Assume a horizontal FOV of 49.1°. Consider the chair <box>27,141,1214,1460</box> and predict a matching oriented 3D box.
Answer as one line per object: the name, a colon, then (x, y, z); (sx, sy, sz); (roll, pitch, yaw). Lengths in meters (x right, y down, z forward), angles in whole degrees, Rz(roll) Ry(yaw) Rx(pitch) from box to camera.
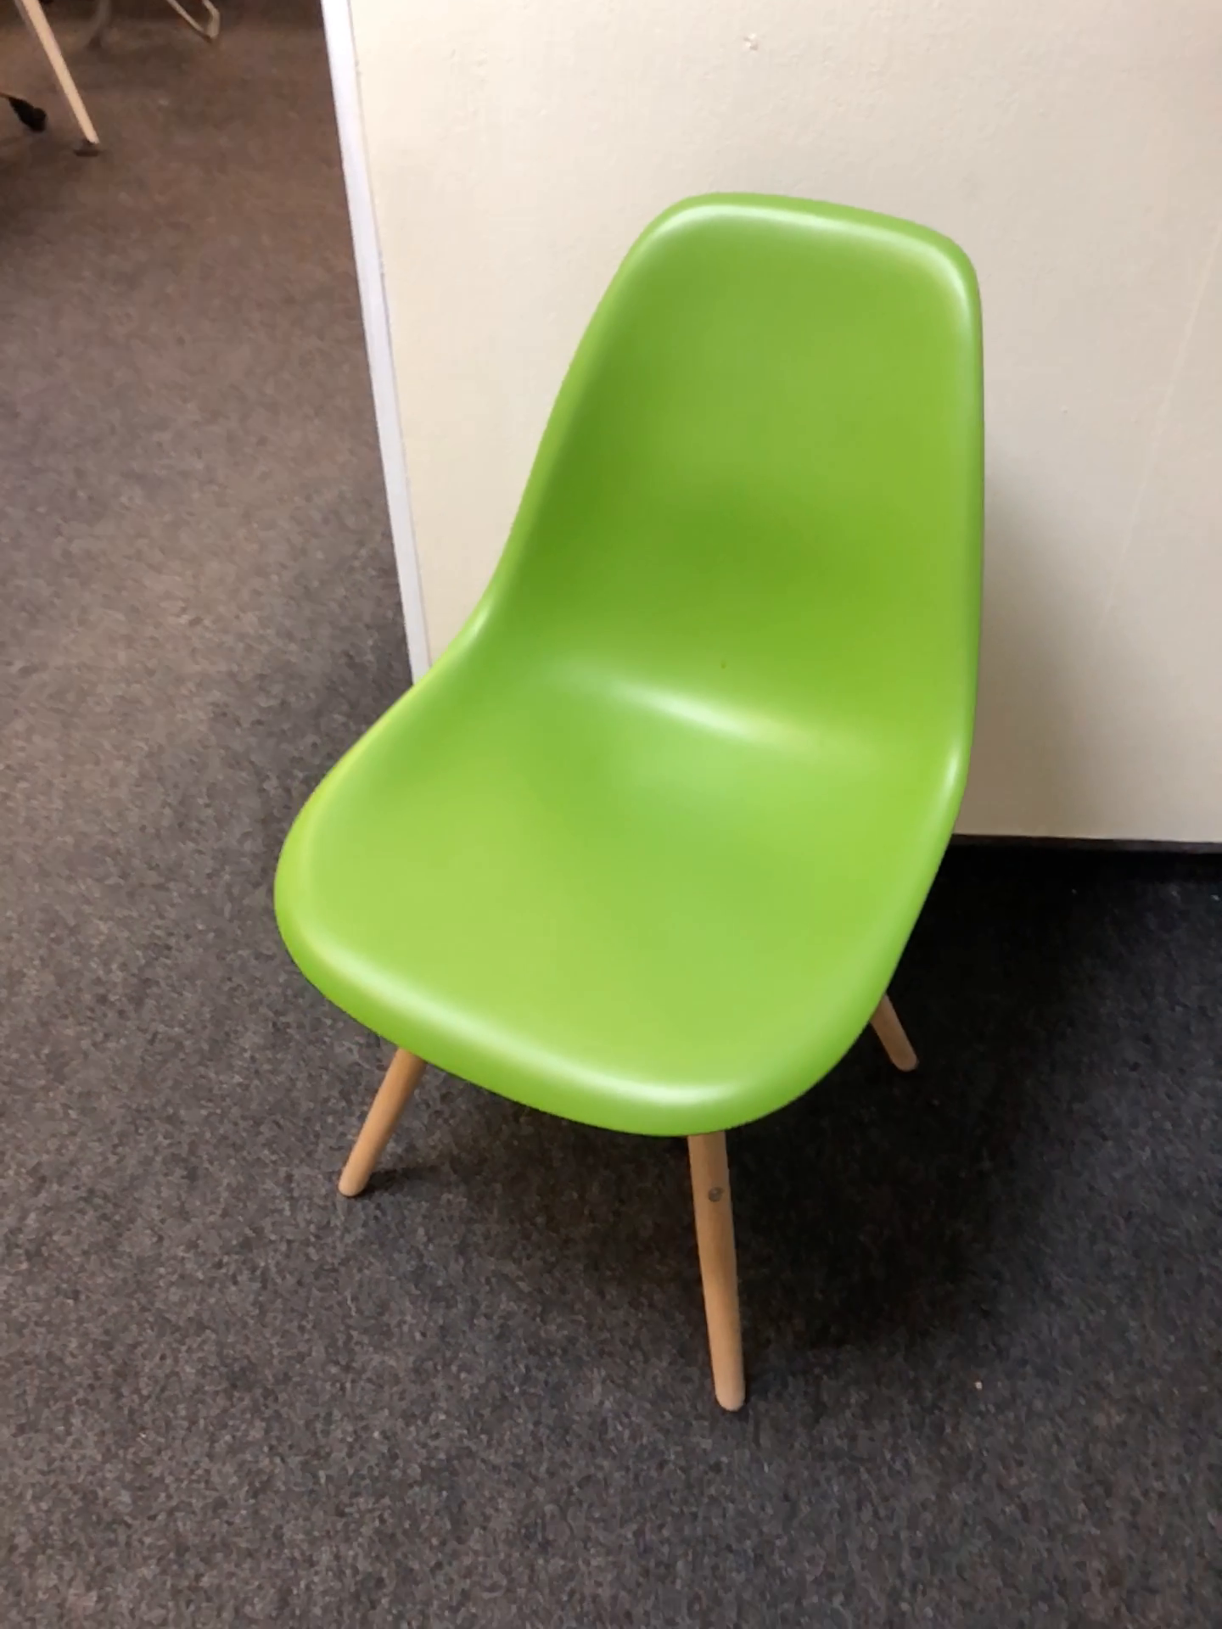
chair: (0.049, -0.026, 1.041); (0.481, 0.706, 0.583); (22, 48, 22)
